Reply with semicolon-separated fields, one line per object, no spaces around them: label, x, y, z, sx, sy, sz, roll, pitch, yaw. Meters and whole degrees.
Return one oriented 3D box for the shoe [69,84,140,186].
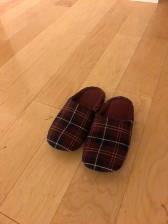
shoe;0.068;0.040;0.493;0.120;0.050;0.272;12;52;15

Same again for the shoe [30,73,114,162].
shoe;-0.018;-0.003;0.519;0.120;0.050;0.262;18;53;20
